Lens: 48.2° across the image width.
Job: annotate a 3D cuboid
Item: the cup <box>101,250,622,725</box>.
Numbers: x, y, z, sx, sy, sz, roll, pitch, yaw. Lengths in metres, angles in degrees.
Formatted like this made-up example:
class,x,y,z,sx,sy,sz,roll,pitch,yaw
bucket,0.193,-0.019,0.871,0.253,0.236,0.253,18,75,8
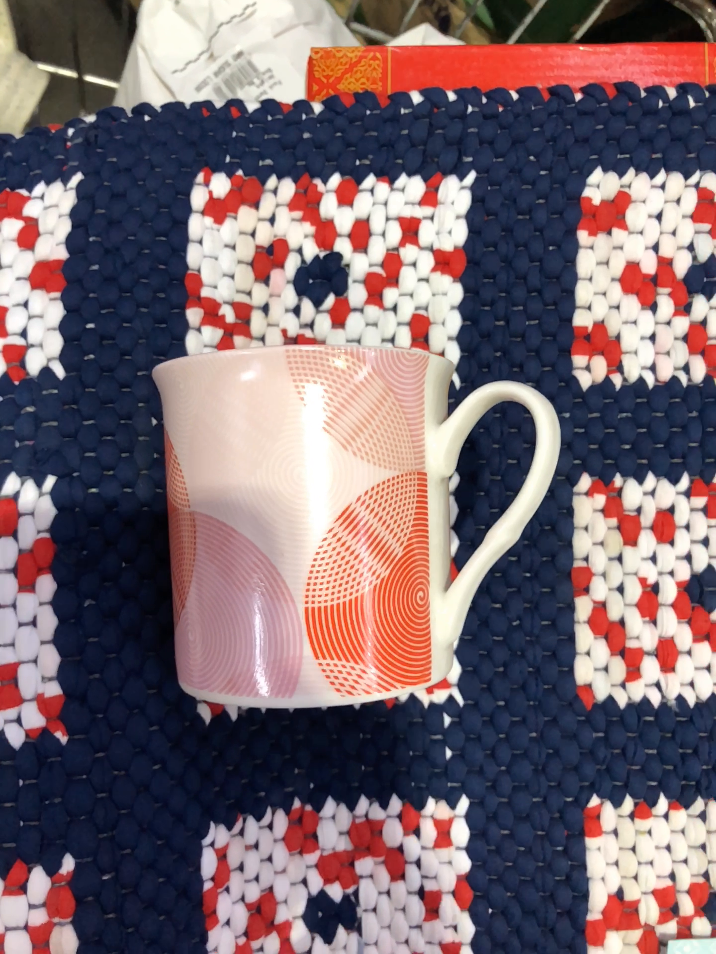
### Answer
class,x,y,z,sx,sy,sz,roll,pitch,yaw
cup,0.008,0.009,0.235,0.120,0.100,0.100,-5,84,20
